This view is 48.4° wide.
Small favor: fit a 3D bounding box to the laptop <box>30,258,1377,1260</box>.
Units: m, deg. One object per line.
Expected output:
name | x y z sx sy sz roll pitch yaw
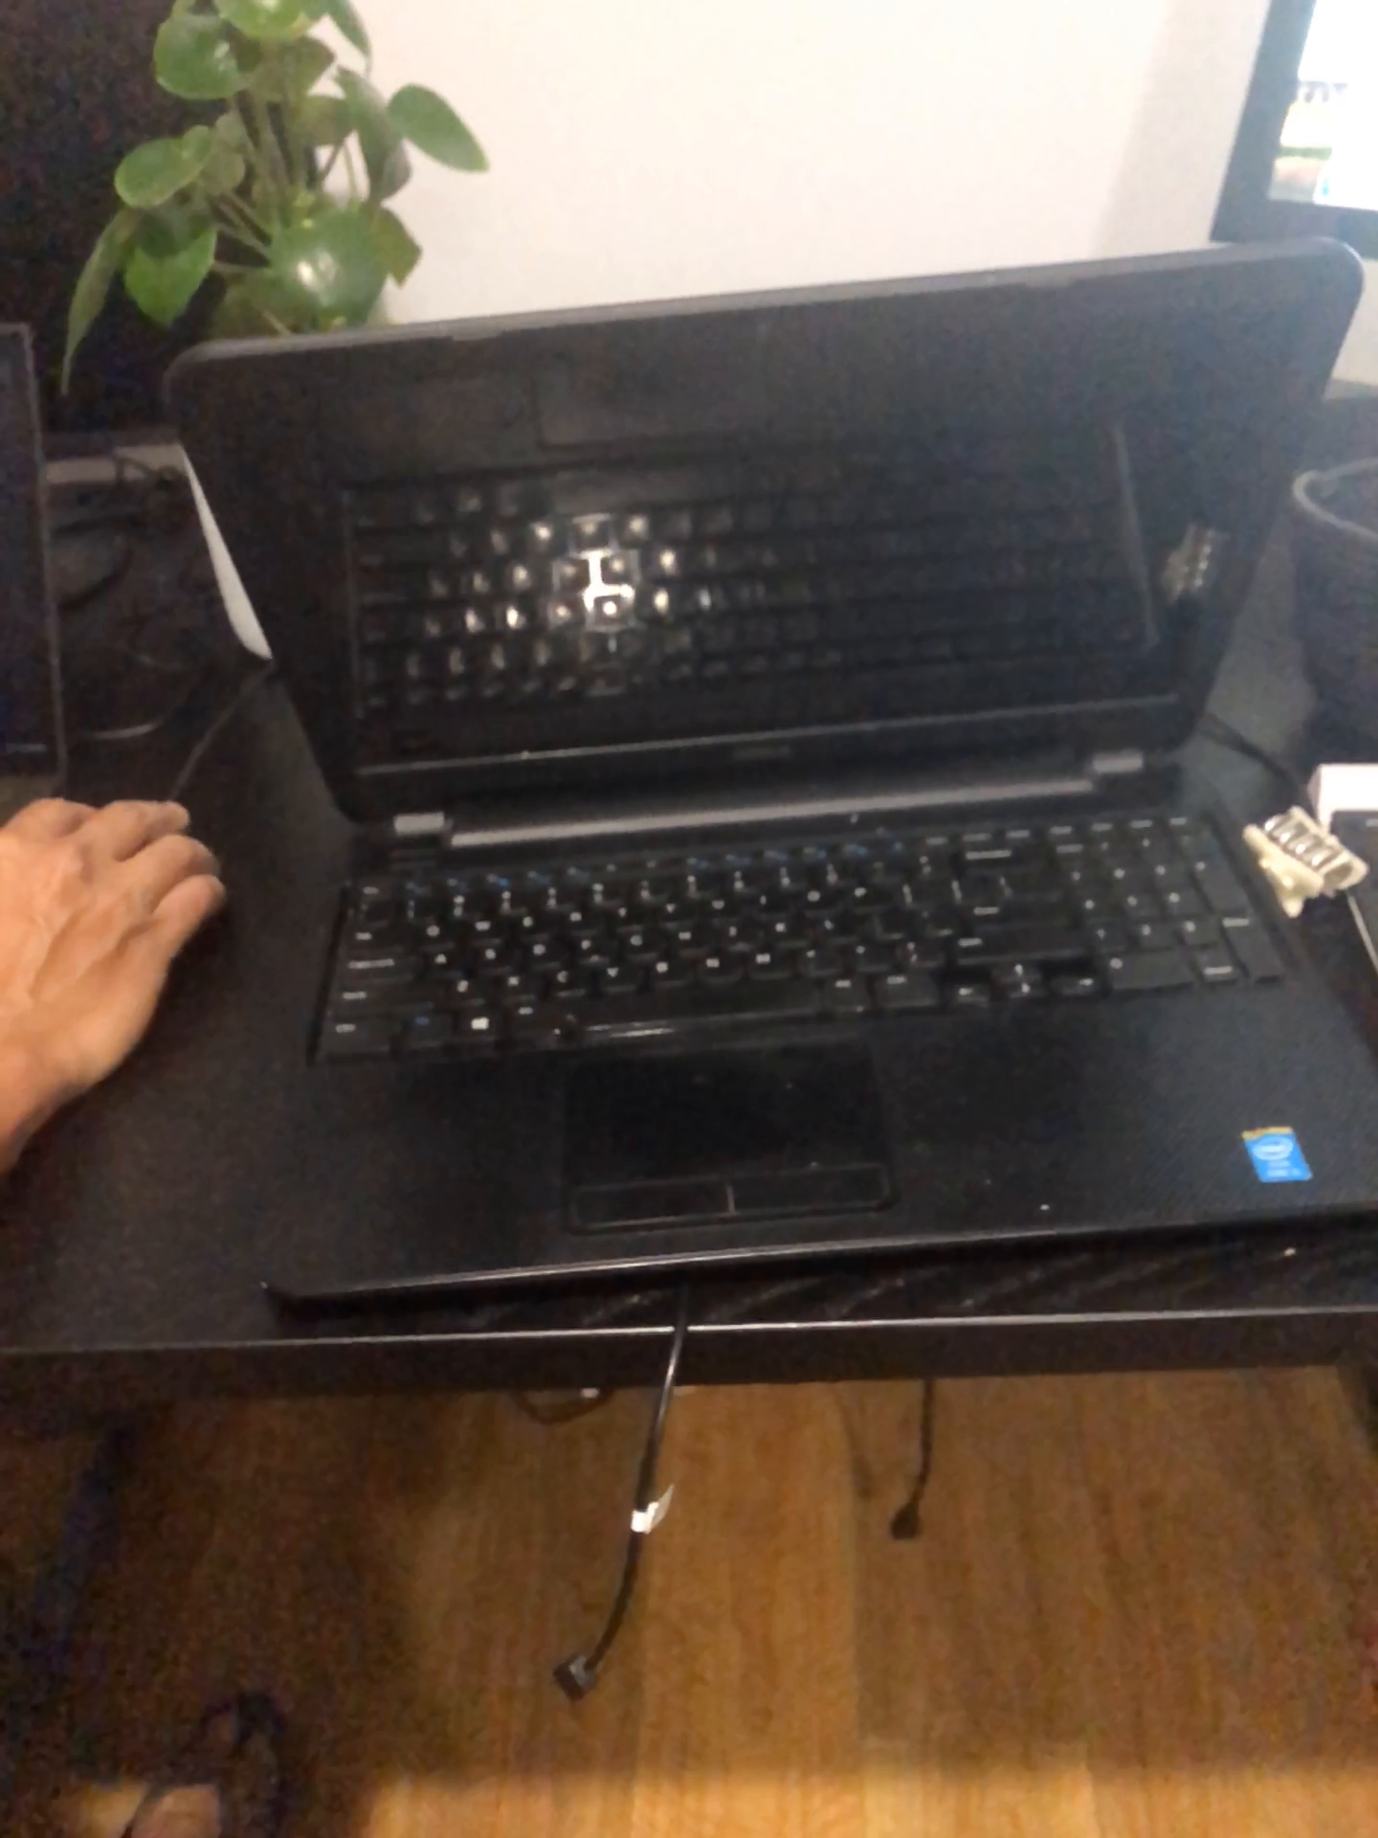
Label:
laptop | 0.026 -0.055 0.493 0.366 0.210 0.207 -4 38 2
